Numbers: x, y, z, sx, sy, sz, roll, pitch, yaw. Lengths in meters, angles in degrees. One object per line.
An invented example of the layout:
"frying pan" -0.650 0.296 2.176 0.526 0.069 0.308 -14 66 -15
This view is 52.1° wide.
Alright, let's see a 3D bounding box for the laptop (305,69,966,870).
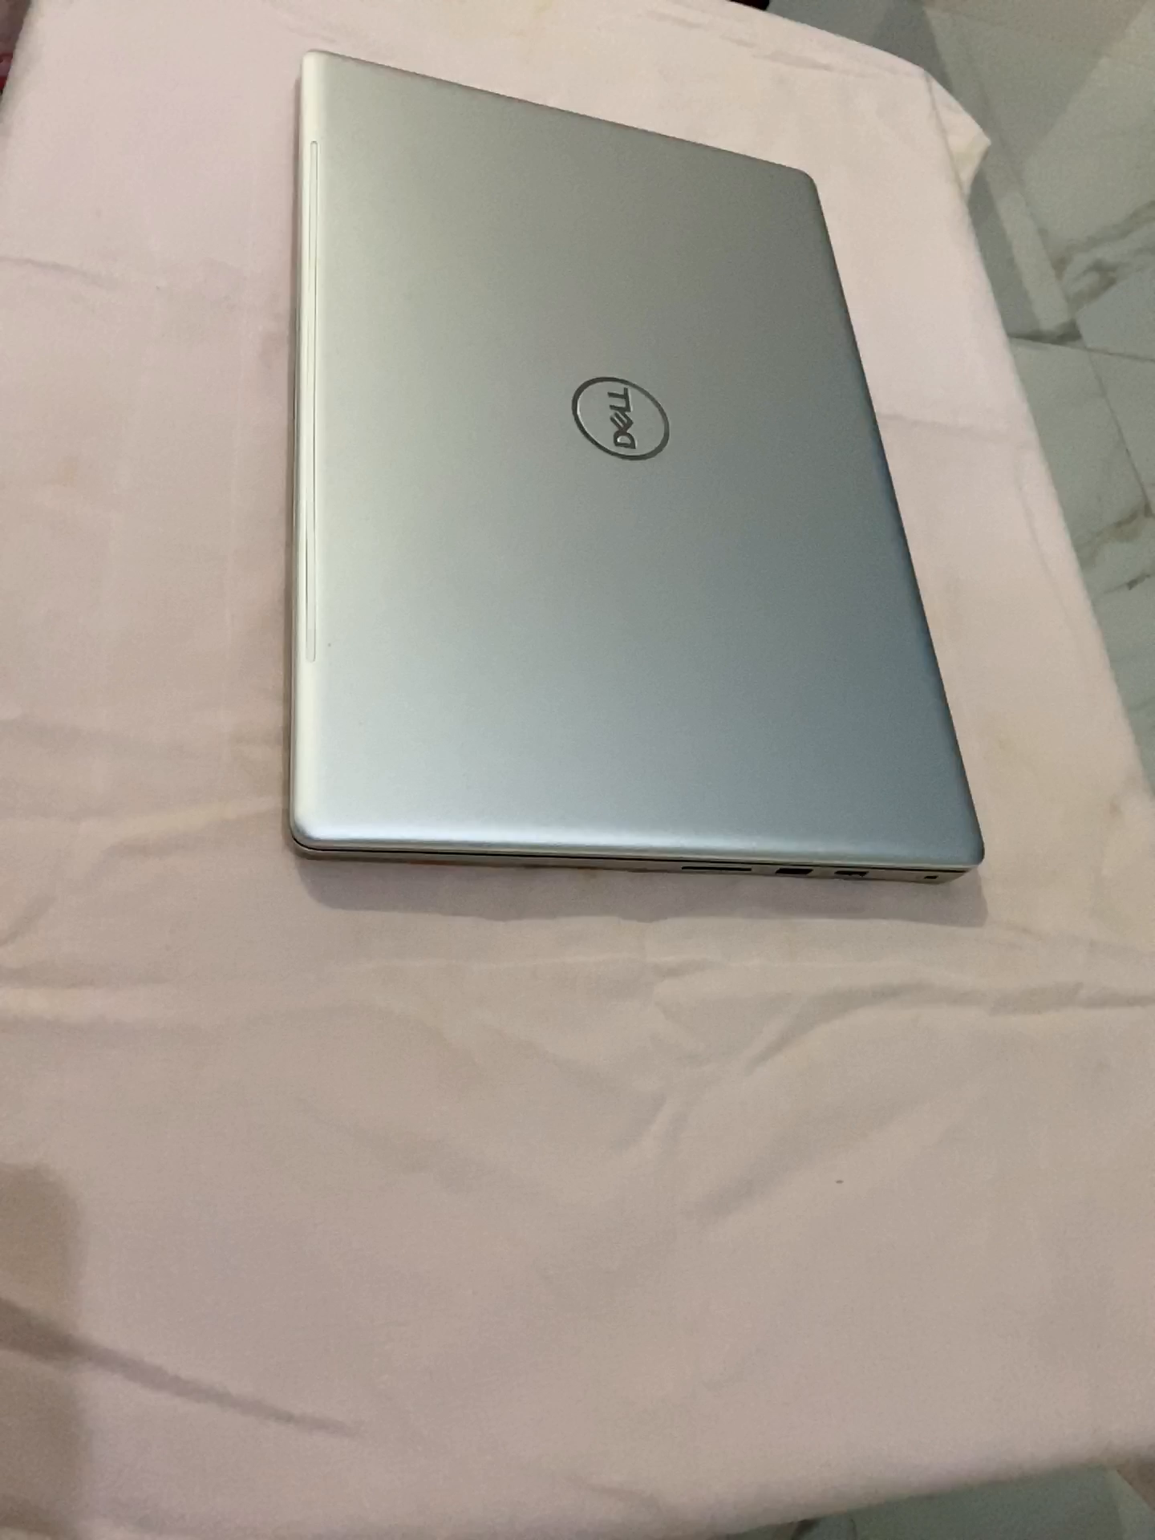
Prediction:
"laptop" 0.012 -0.133 0.473 0.236 0.004 0.359 3 64 -18
